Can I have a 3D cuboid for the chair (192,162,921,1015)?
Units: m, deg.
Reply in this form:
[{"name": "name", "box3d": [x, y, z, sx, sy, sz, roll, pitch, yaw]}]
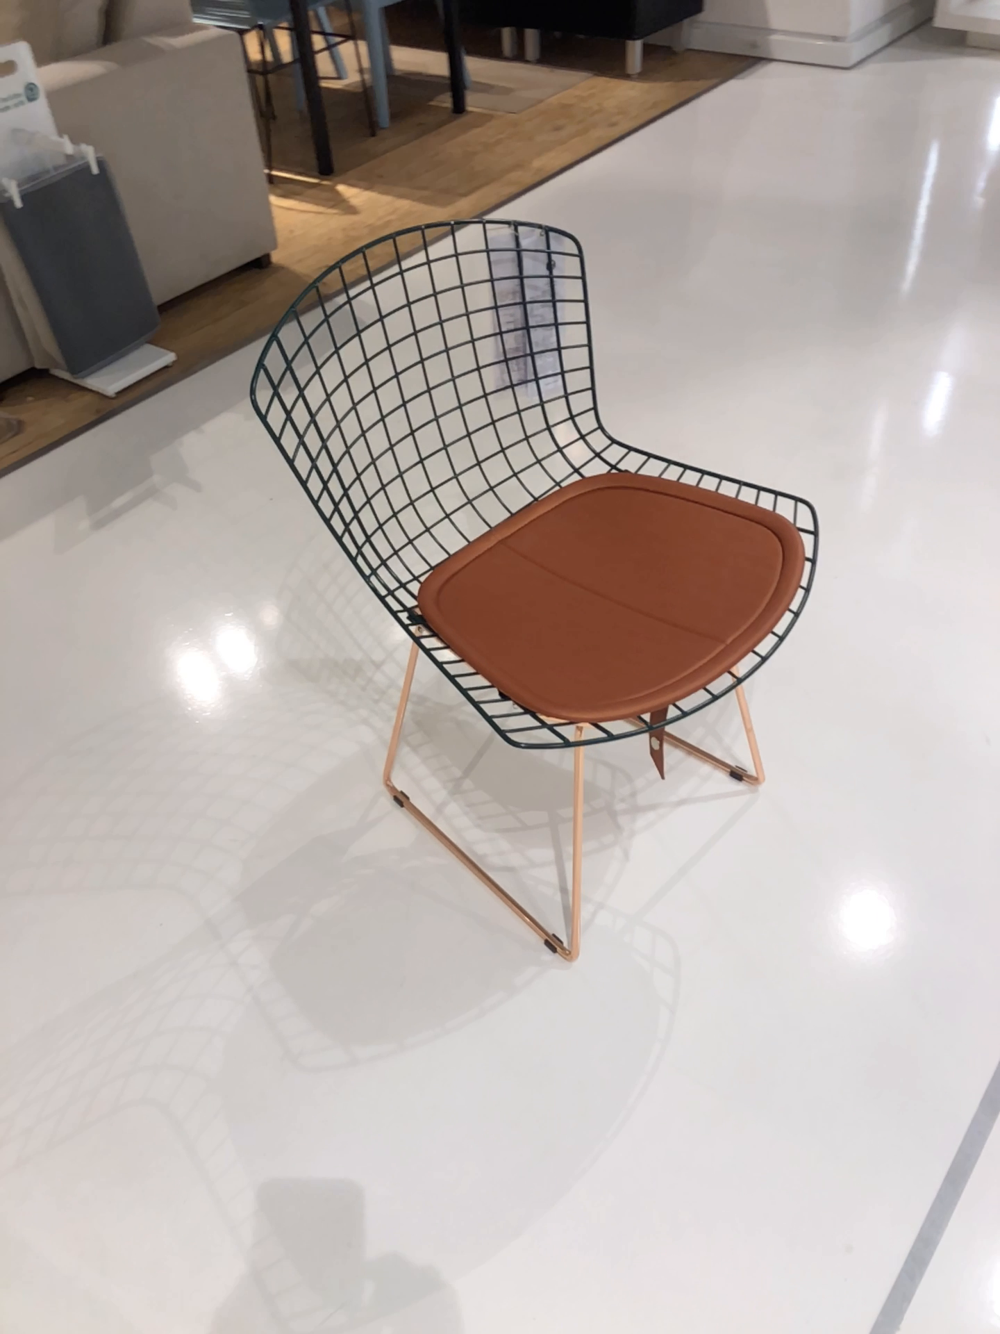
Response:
[{"name": "chair", "box3d": [0.071, -0.100, 1.296, 0.492, 0.724, 0.502, -35, 50, -29]}]
